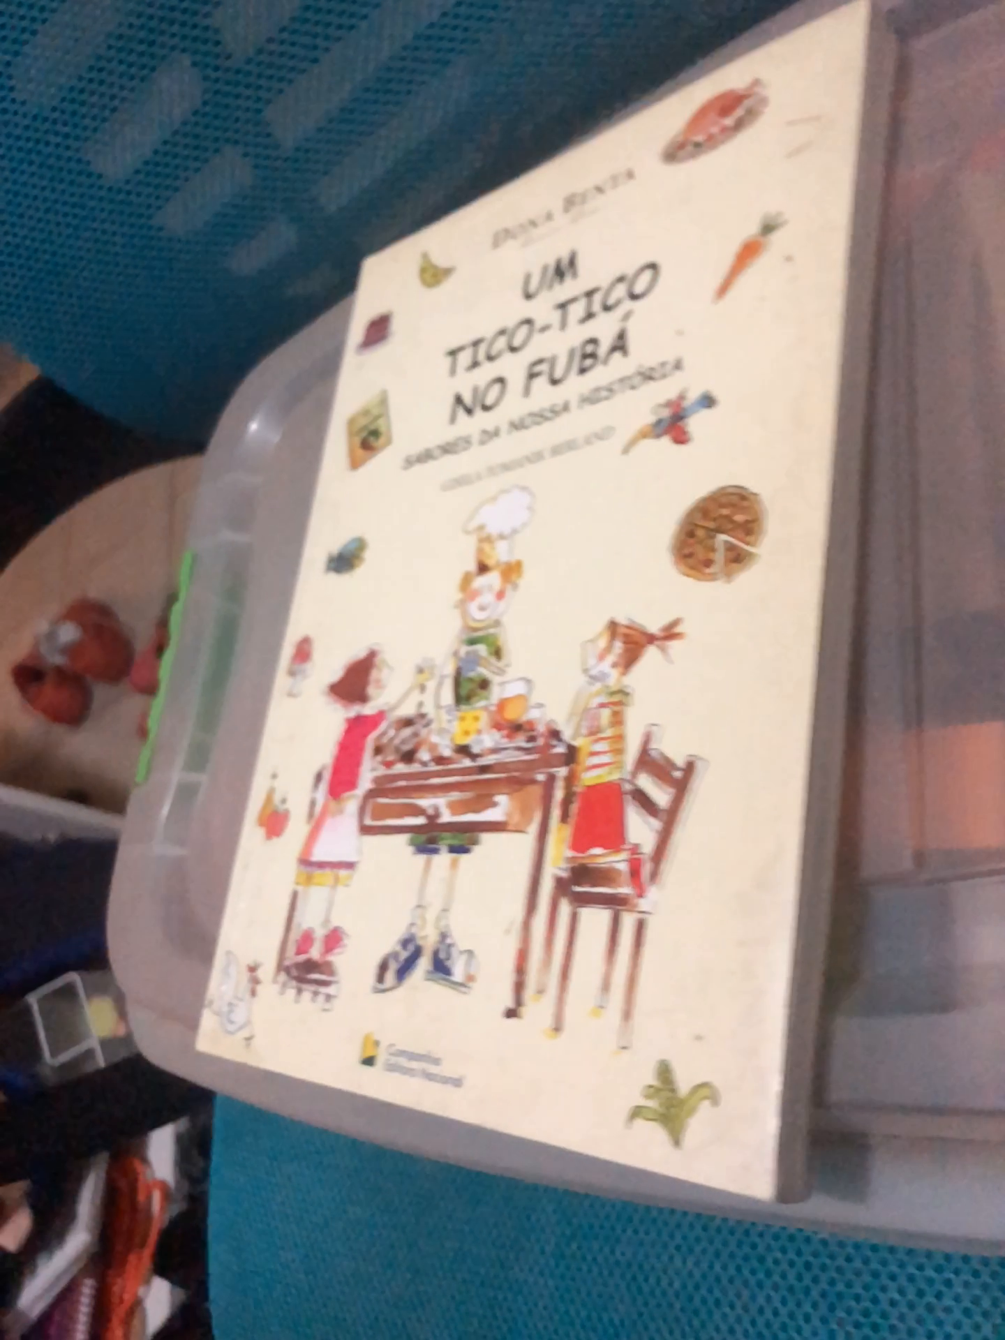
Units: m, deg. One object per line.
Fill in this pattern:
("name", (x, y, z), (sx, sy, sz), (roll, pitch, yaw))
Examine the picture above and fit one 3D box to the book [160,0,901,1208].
("book", (0.001, -0.021, 0.261), (0.172, 0.020, 0.232), (-8, 67, 42))
